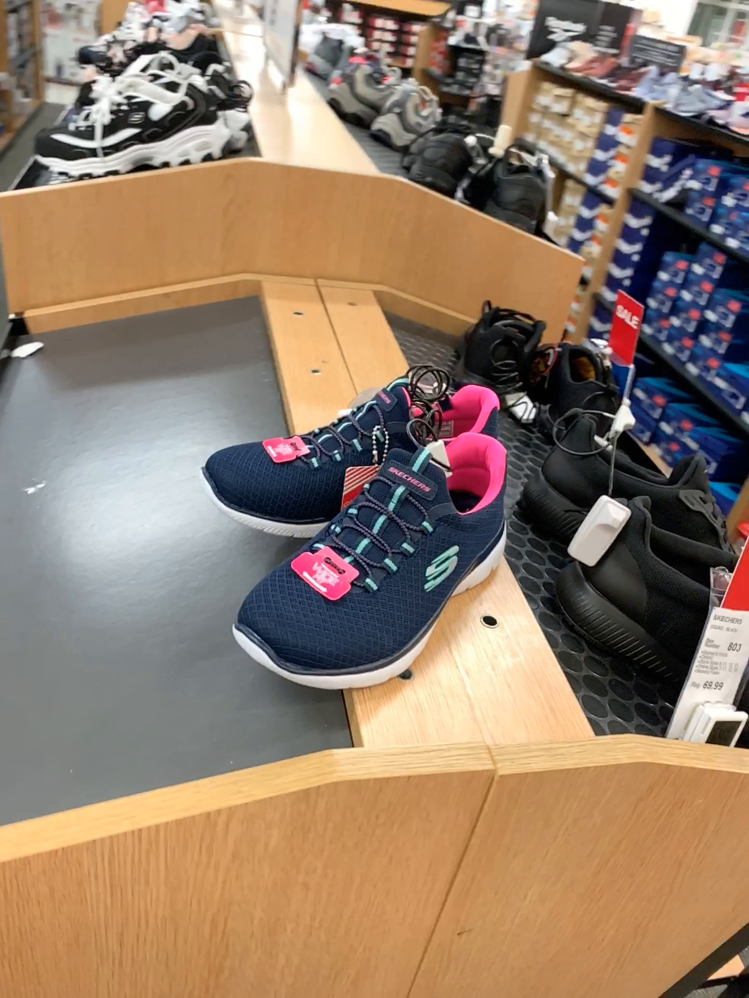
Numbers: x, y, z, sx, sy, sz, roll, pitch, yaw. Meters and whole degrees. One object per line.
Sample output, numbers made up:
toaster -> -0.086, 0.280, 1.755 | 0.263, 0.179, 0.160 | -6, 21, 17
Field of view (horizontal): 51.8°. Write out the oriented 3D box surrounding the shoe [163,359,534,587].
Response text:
shoe -> -0.022, -0.030, 0.593 | 0.250, 0.099, 0.110 | -9, 39, -28

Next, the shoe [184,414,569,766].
shoe -> 0.012, 0.039, 0.507 | 0.100, 0.090, 0.261 | 31, 39, 27
